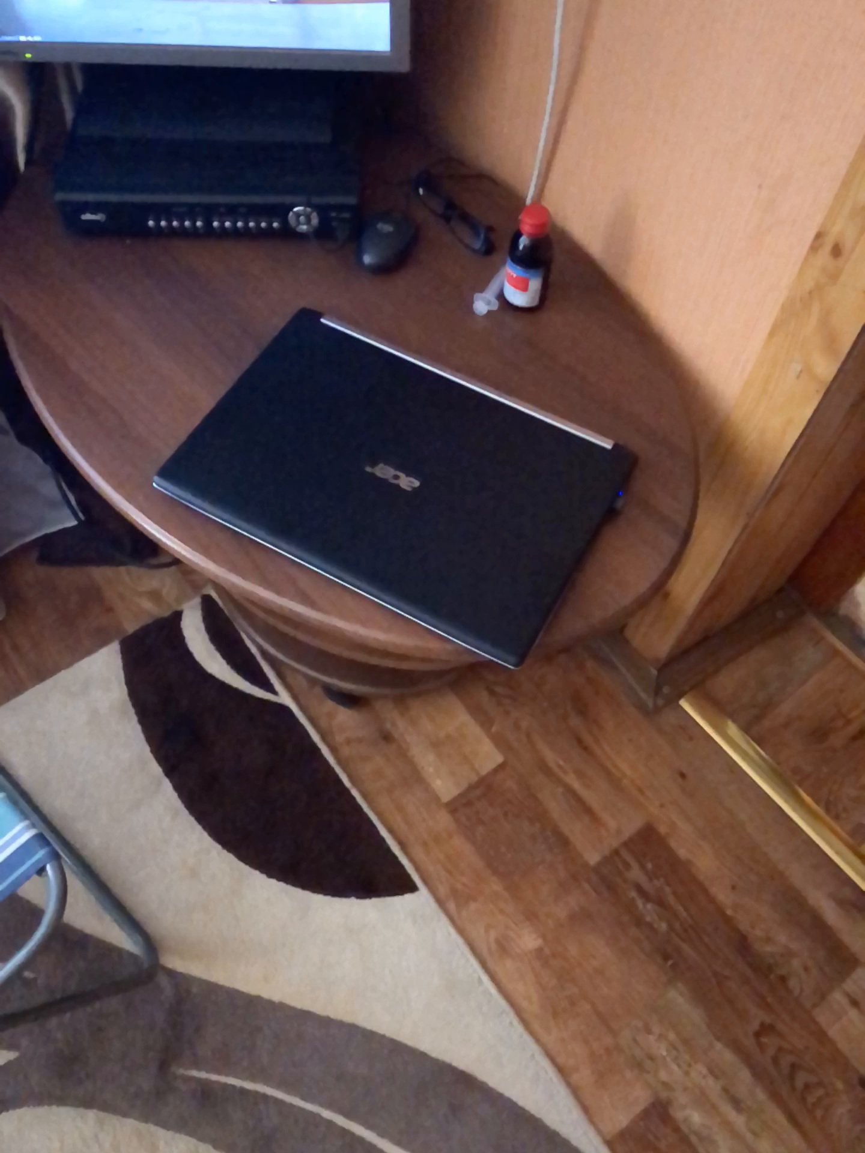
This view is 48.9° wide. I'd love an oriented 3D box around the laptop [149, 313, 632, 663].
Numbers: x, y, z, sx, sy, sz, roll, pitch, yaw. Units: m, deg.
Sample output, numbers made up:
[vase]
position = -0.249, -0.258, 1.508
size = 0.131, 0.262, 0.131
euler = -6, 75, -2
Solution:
[laptop]
position = -0.034, -0.097, 0.865
size = 0.363, 0.004, 0.240
euler = 26, 62, 12
